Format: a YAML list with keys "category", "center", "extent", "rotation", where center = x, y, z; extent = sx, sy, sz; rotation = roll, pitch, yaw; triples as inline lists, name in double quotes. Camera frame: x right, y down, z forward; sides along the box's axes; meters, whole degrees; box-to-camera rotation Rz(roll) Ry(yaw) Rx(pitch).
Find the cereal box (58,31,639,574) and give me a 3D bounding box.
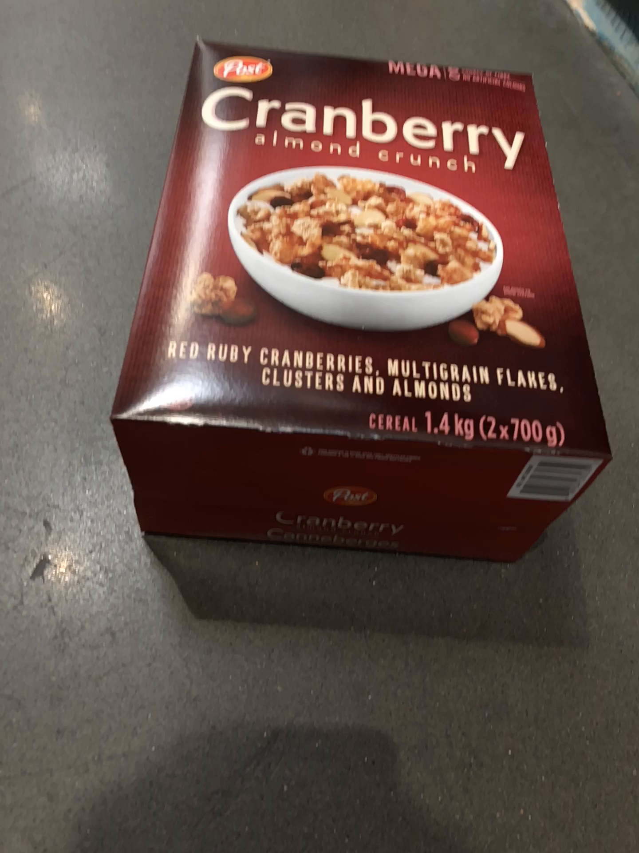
- category: "cereal box"
  center: [0.014, -0.084, 0.447]
  extent: [0.260, 0.130, 0.311]
  rotation: [4, 58, -5]
